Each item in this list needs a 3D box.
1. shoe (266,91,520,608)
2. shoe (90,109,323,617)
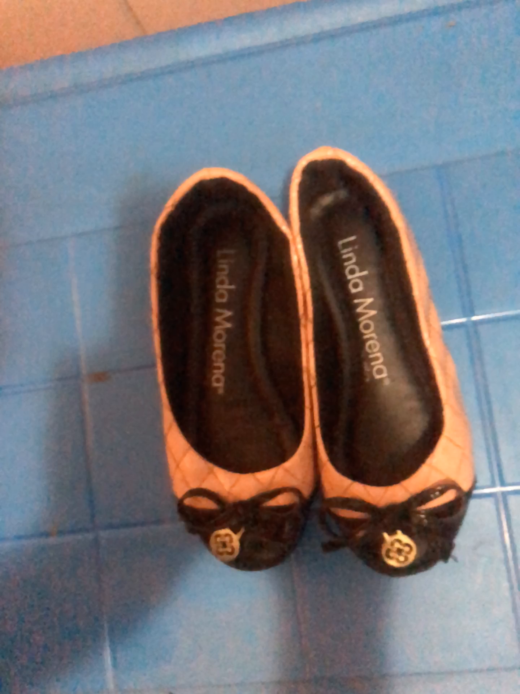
[{"bbox_3d":[0.055,0.002,0.264,0.070,0.080,0.190,-8,85,7],"label":"shoe"},{"bbox_3d":[-0.019,0.007,0.267,0.070,0.080,0.190,-7,85,8],"label":"shoe"}]
